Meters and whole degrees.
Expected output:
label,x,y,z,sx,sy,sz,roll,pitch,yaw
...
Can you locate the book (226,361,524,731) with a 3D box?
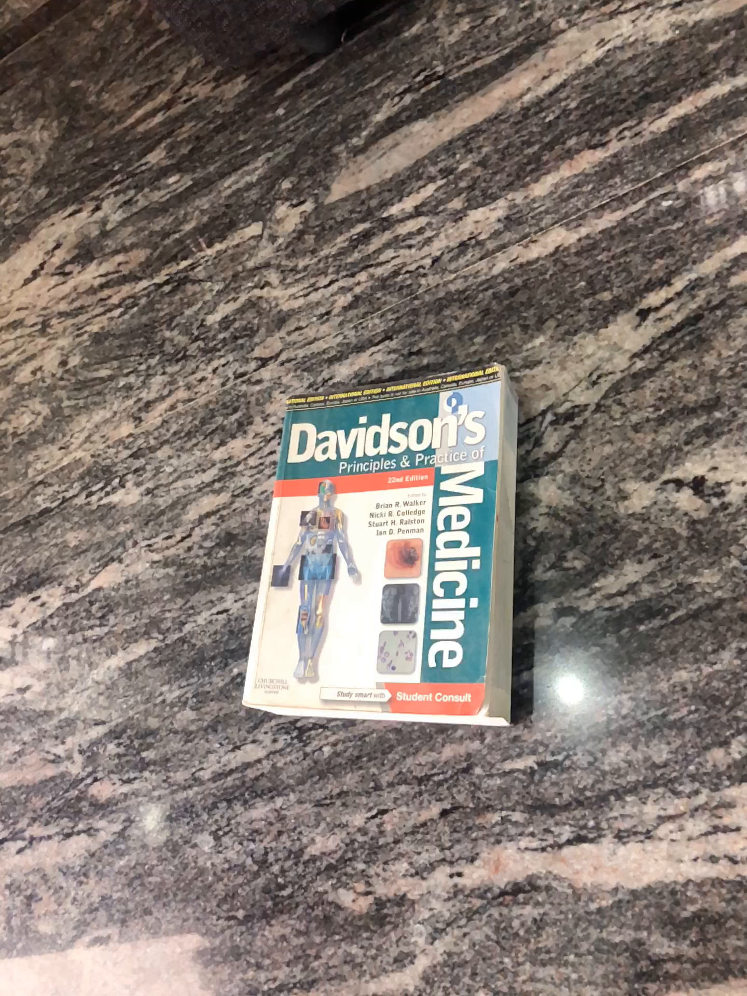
label,x,y,z,sx,sy,sz,roll,pitch,yaw
book,0.007,0.039,0.640,0.200,0.070,0.260,-5,67,26
